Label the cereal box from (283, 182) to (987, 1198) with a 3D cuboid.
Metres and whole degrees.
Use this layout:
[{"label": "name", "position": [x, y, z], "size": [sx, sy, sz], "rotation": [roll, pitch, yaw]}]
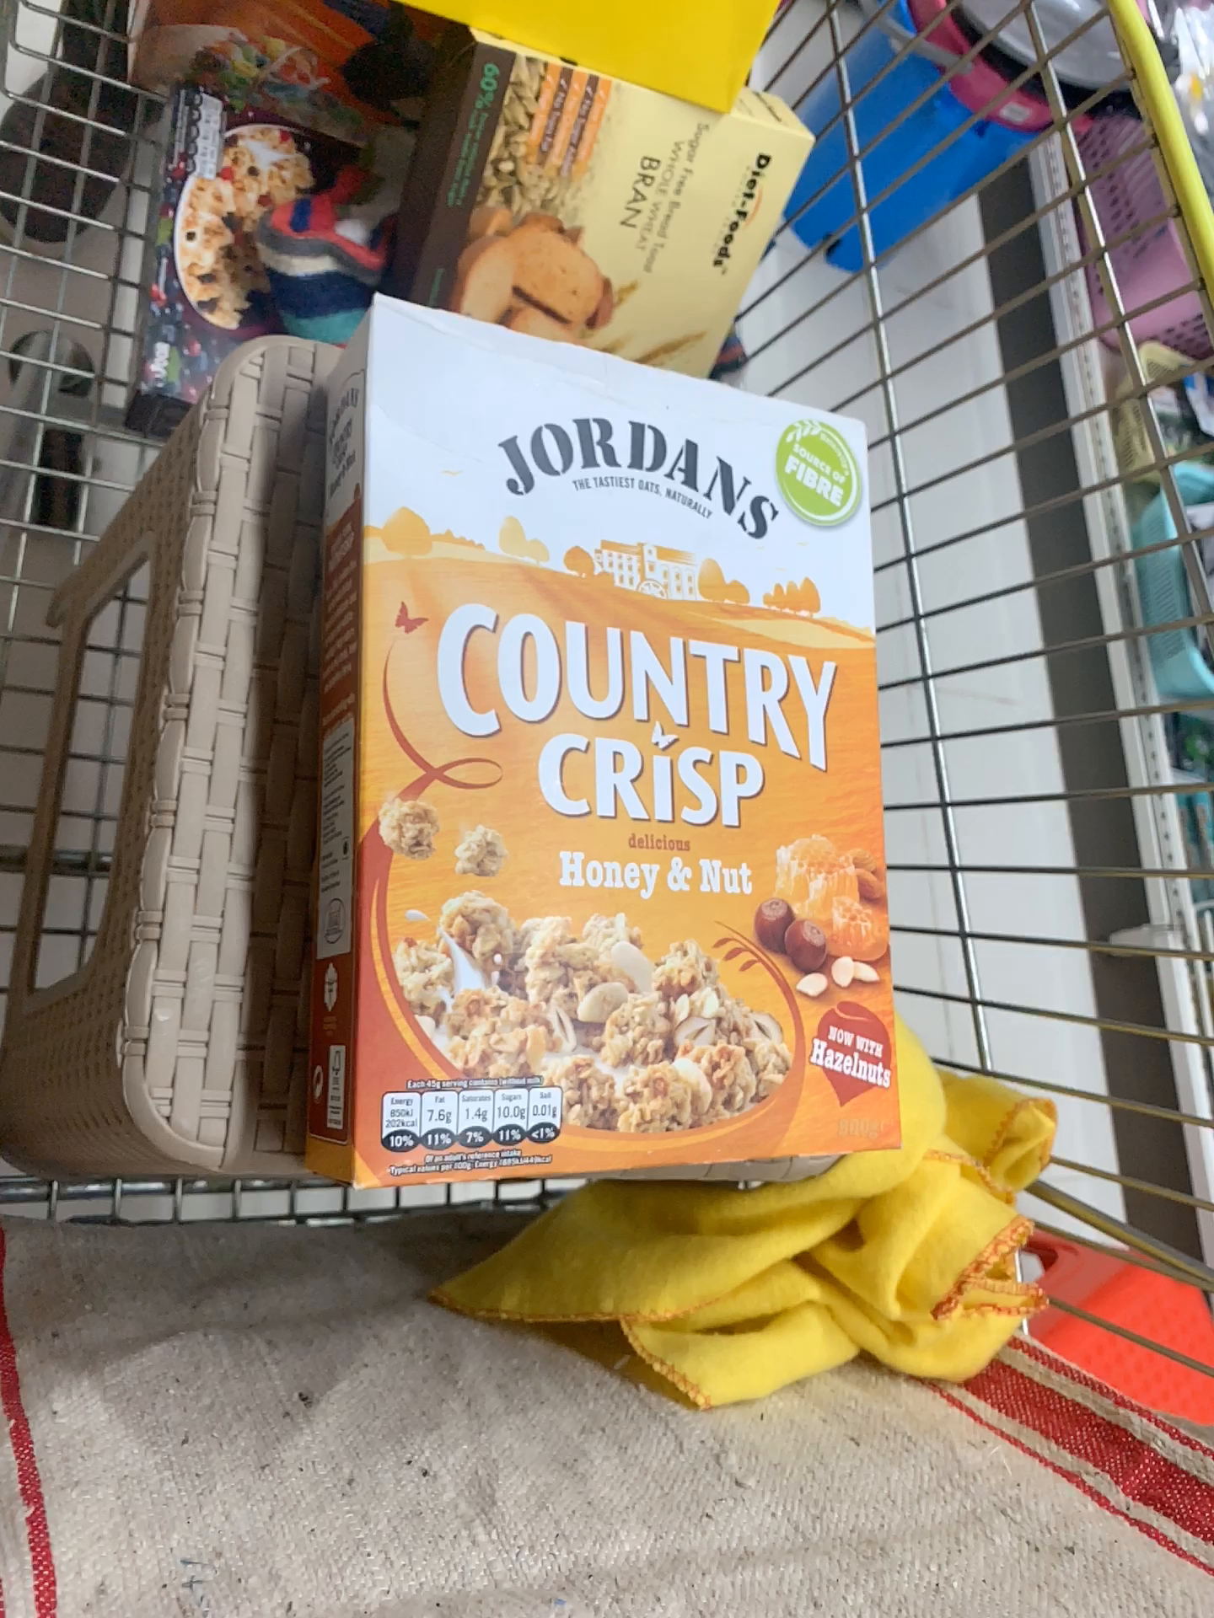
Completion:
[{"label": "cereal box", "position": [0.011, -0.024, 0.389], "size": [0.190, 0.080, 0.260], "rotation": [6, 78, -28]}]
